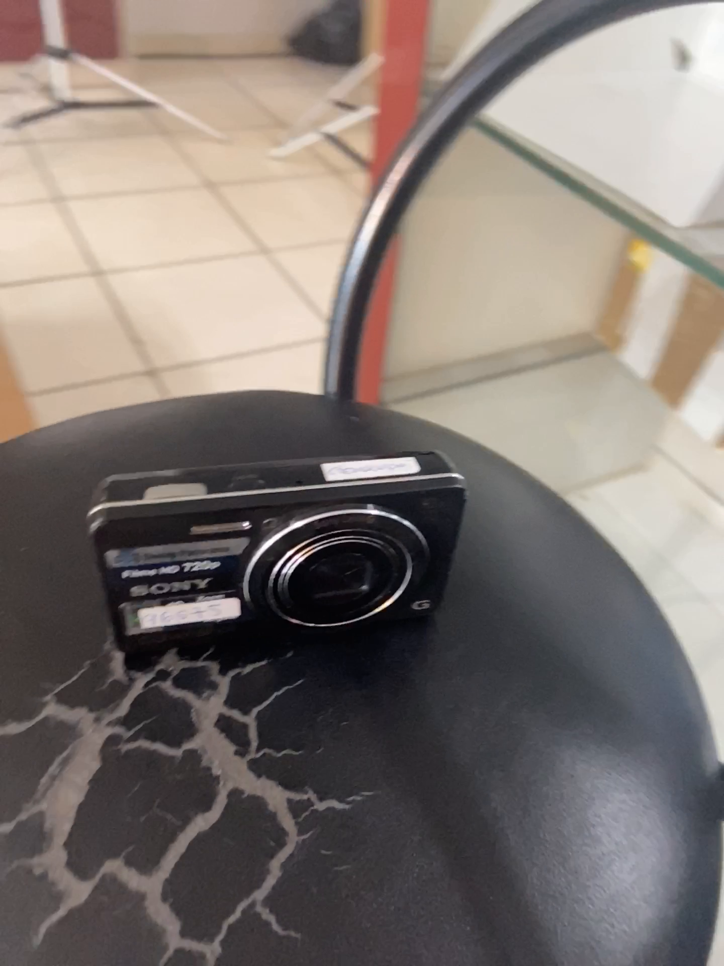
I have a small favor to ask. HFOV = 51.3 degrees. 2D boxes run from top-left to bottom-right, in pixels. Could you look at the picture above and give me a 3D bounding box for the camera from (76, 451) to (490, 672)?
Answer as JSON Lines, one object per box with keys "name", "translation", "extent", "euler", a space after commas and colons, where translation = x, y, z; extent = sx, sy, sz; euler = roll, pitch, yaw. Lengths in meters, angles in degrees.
{"name": "camera", "translation": [-0.020, 0.021, 0.201], "extent": [0.097, 0.051, 0.024], "euler": [-3, 43, -12]}
